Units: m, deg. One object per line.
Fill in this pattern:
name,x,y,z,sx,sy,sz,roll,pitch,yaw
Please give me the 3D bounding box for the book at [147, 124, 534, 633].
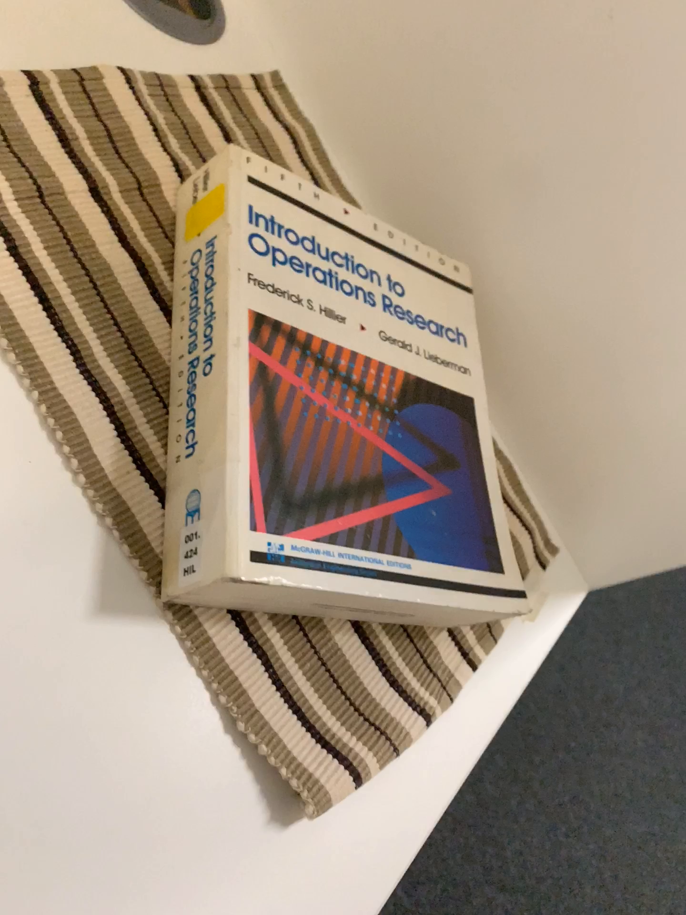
book,0.002,-0.034,0.390,0.196,0.052,0.235,16,58,-37
